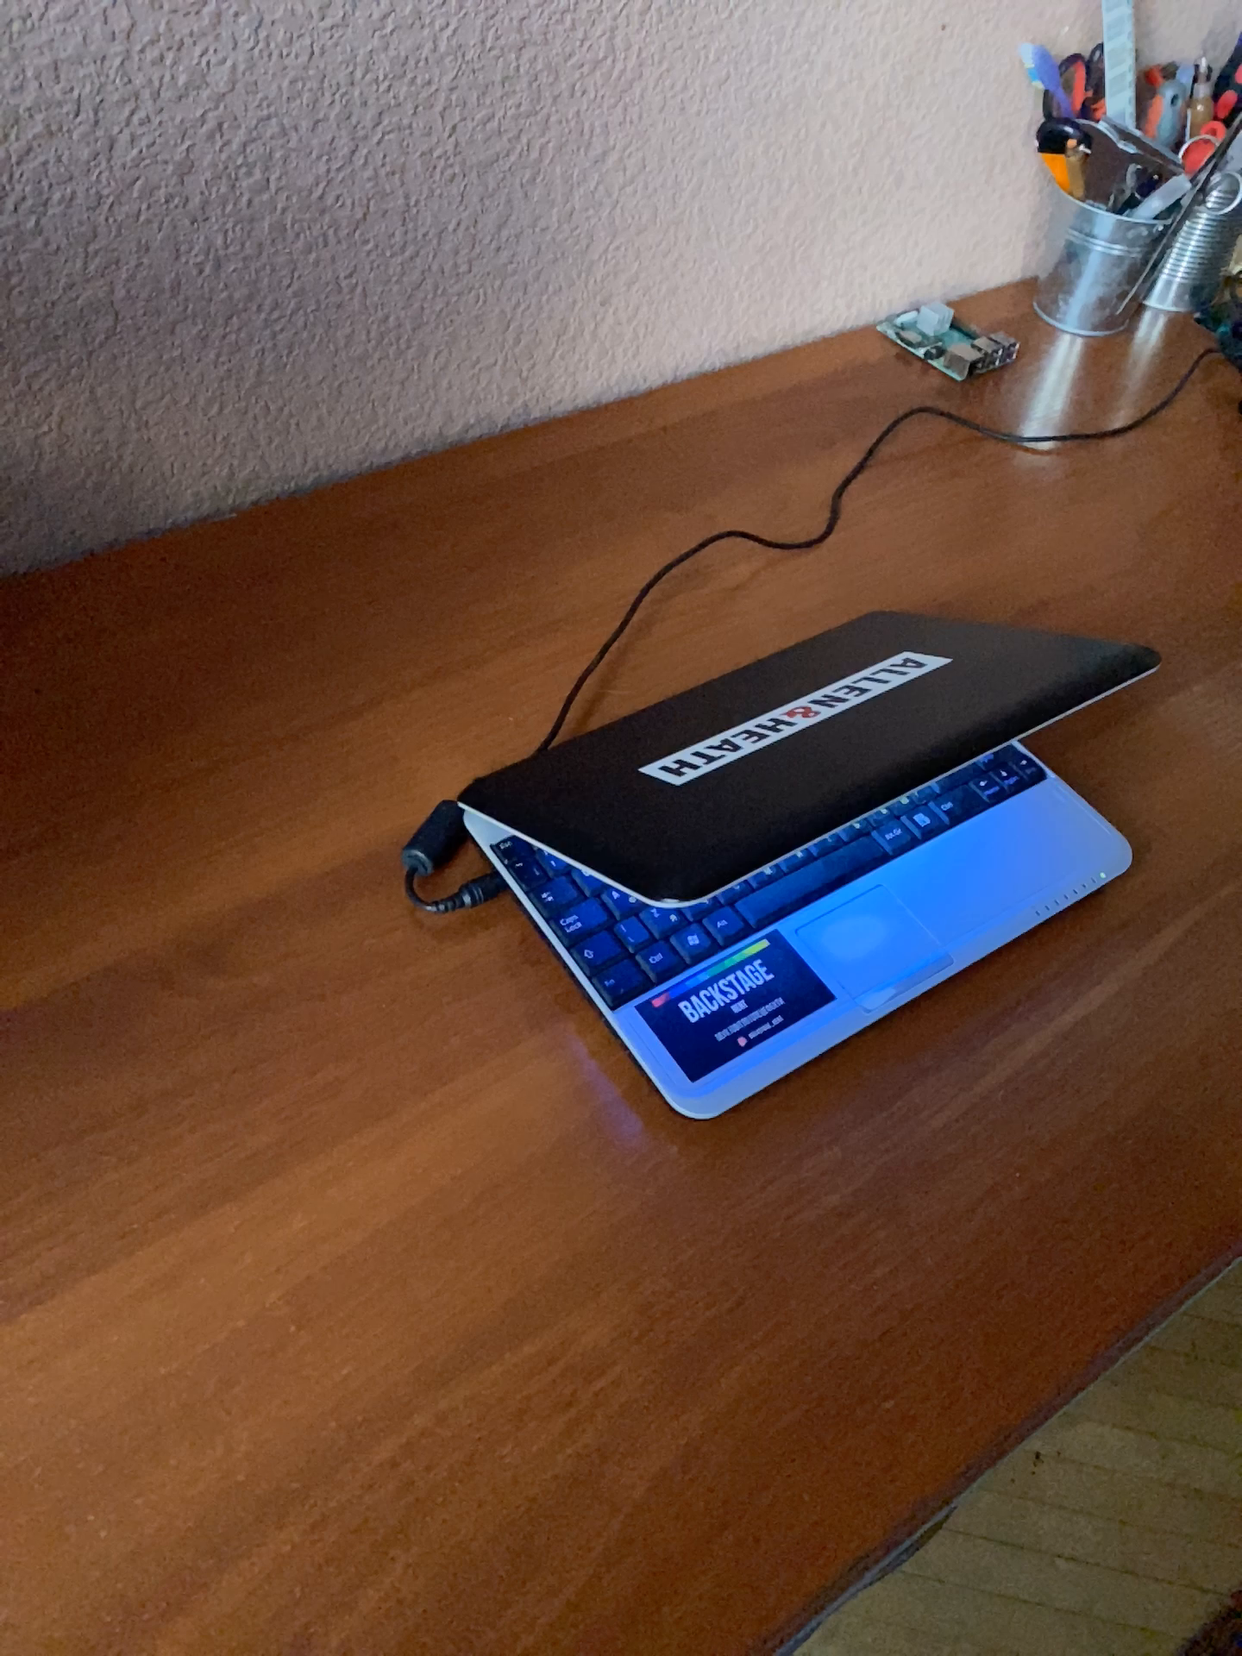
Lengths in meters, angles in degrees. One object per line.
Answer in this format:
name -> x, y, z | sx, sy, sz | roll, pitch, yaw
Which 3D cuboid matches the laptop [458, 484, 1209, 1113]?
laptop -> 0.088, -0.028, 0.556 | 0.266, 0.088, 0.173 | -24, 58, -24
